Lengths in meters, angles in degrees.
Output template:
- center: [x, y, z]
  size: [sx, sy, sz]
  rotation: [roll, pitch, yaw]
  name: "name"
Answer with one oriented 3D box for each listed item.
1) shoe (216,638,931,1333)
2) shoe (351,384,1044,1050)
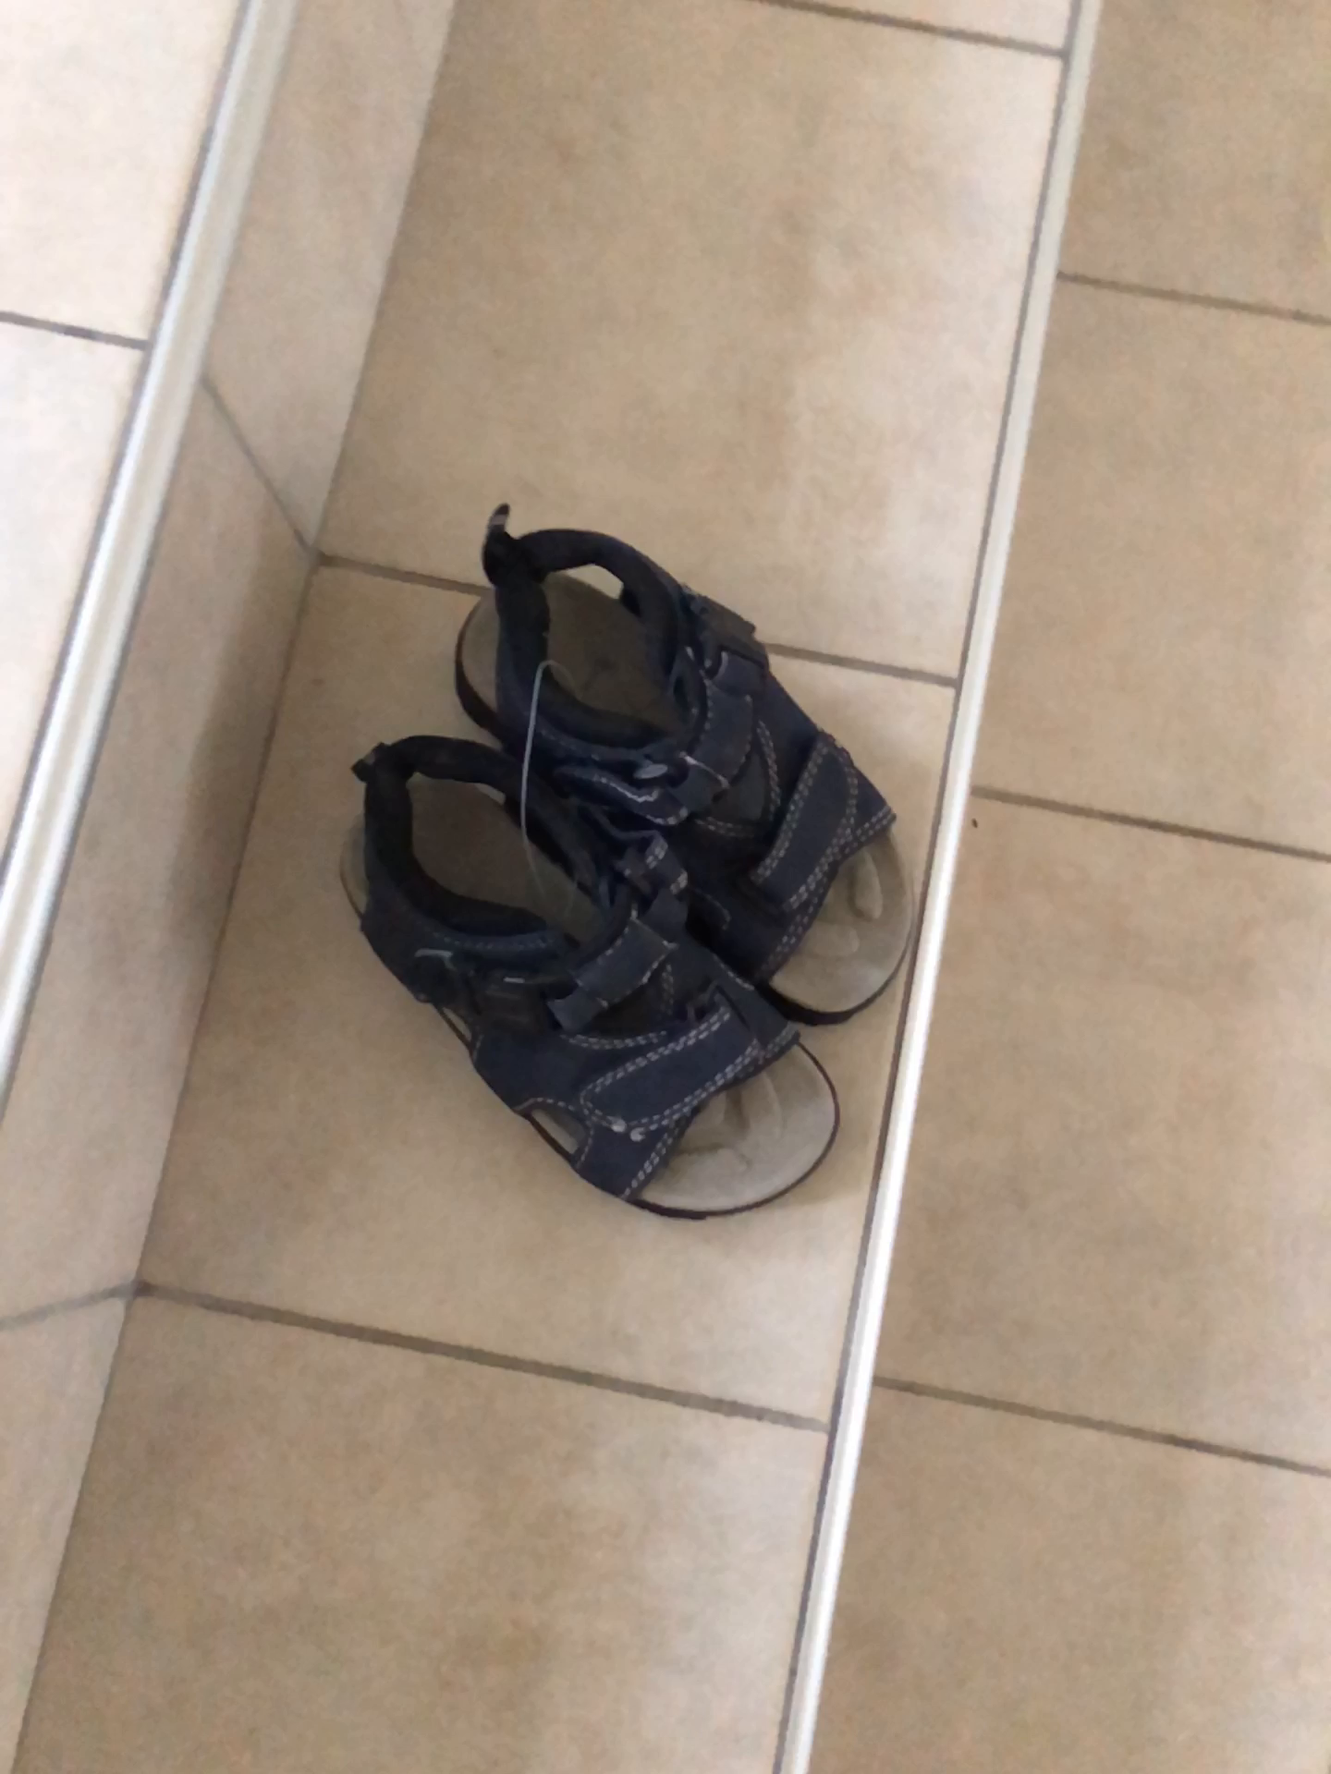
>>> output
- center: [-0.032, 0.036, 0.525]
  size: [0.230, 0.090, 0.100]
  rotation: [43, 82, 6]
  name: "shoe"
- center: [0.009, -0.058, 0.542]
  size: [0.230, 0.090, 0.100]
  rotation: [43, 82, 6]
  name: "shoe"
